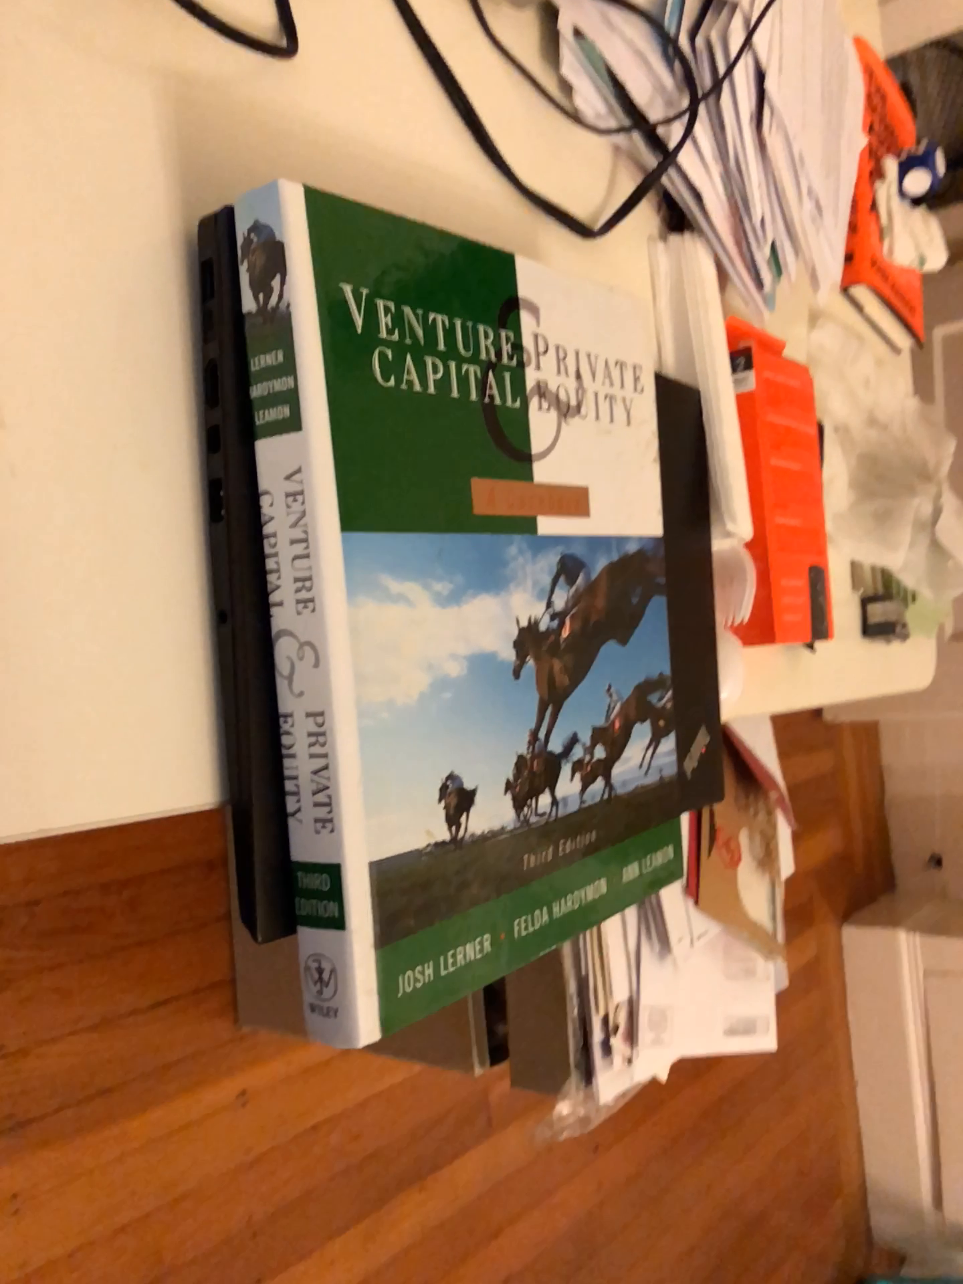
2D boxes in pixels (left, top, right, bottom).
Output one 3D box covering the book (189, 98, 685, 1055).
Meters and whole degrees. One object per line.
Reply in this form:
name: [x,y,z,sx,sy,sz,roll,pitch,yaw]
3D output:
book: [0.002,-0.023,0.396,0.221,0.030,0.270,-4,90,-53]
